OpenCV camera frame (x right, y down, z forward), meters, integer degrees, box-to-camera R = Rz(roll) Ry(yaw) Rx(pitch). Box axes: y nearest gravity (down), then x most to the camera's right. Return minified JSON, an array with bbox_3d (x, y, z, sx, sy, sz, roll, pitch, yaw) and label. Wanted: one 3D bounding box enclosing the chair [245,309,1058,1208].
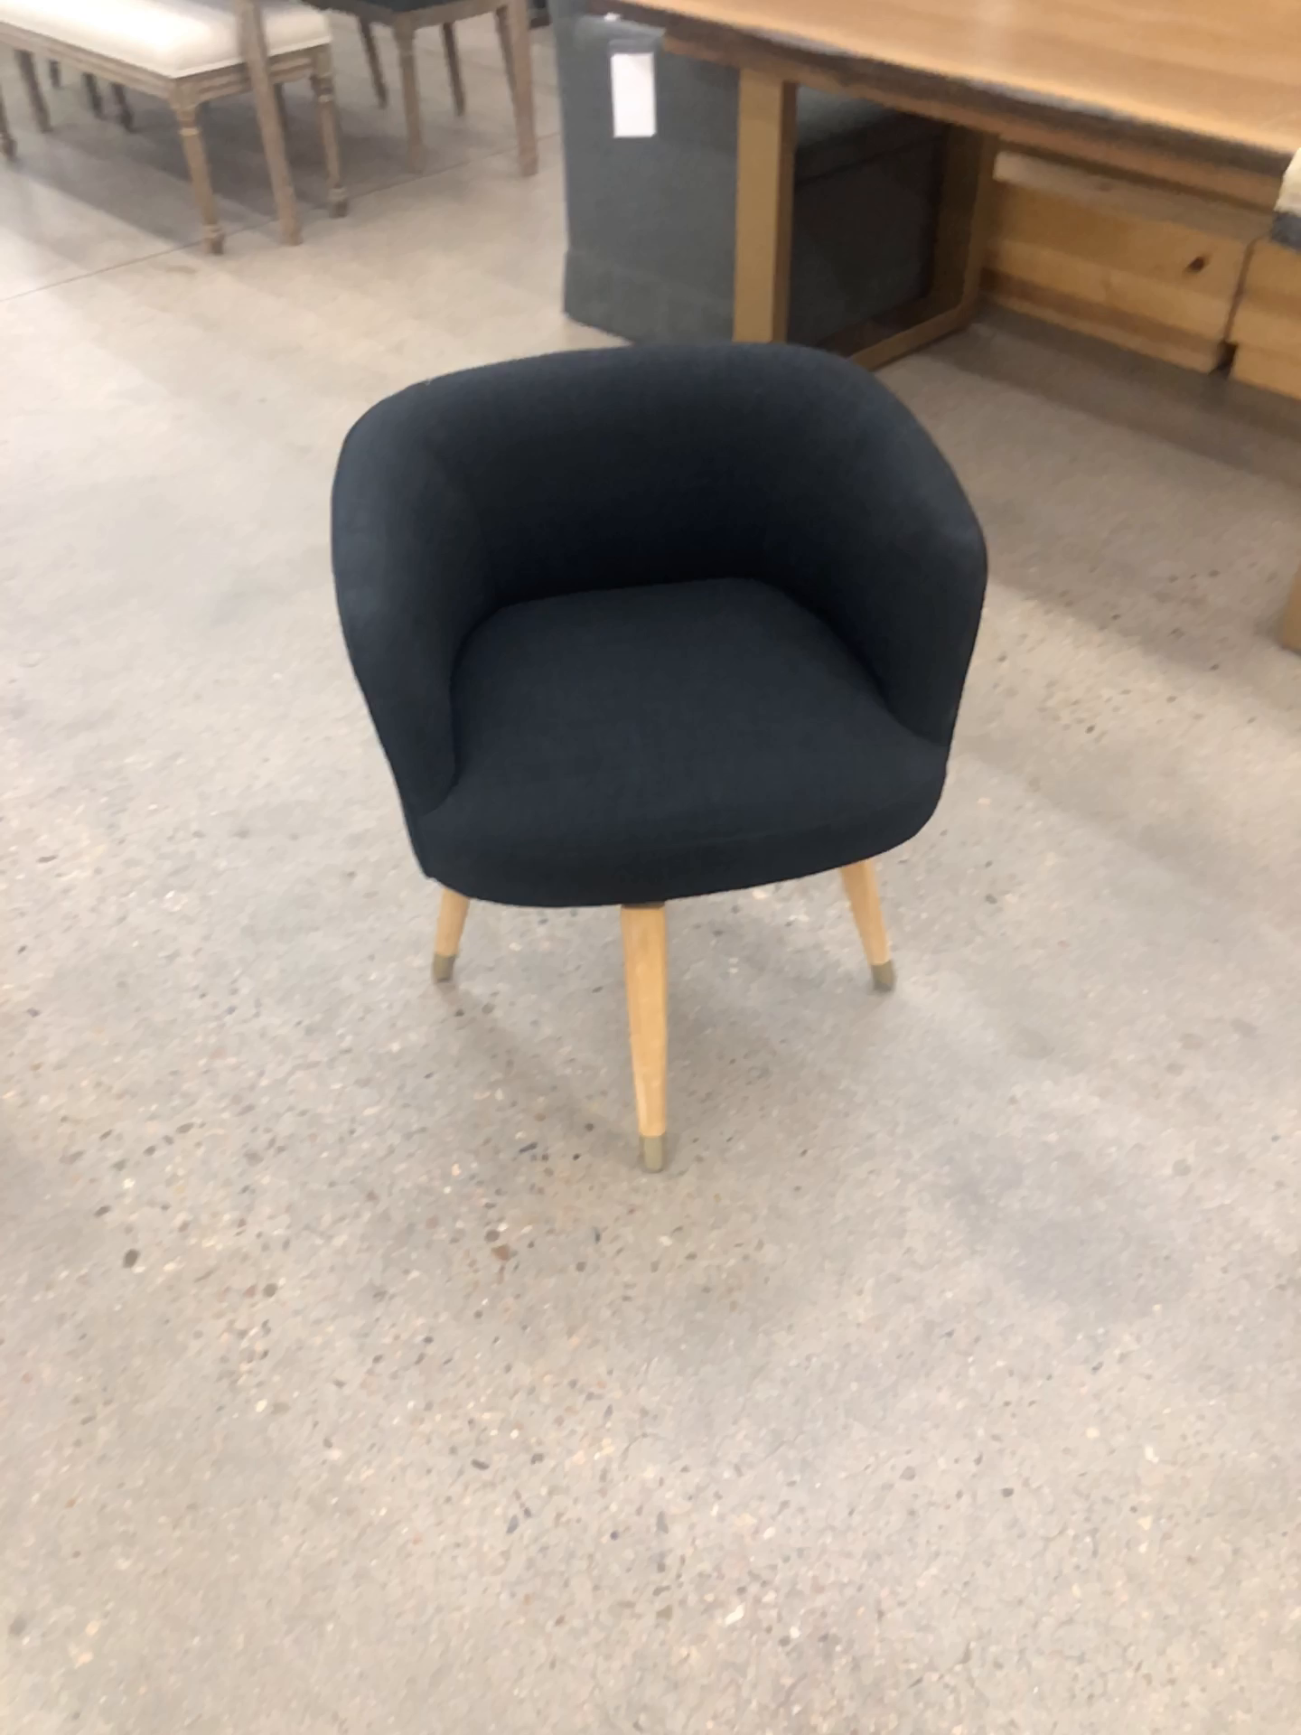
[{"bbox_3d":[-0.015,-0.119,1.502,0.602,0.670,0.606,-4,42,-3],"label":"chair"}]
